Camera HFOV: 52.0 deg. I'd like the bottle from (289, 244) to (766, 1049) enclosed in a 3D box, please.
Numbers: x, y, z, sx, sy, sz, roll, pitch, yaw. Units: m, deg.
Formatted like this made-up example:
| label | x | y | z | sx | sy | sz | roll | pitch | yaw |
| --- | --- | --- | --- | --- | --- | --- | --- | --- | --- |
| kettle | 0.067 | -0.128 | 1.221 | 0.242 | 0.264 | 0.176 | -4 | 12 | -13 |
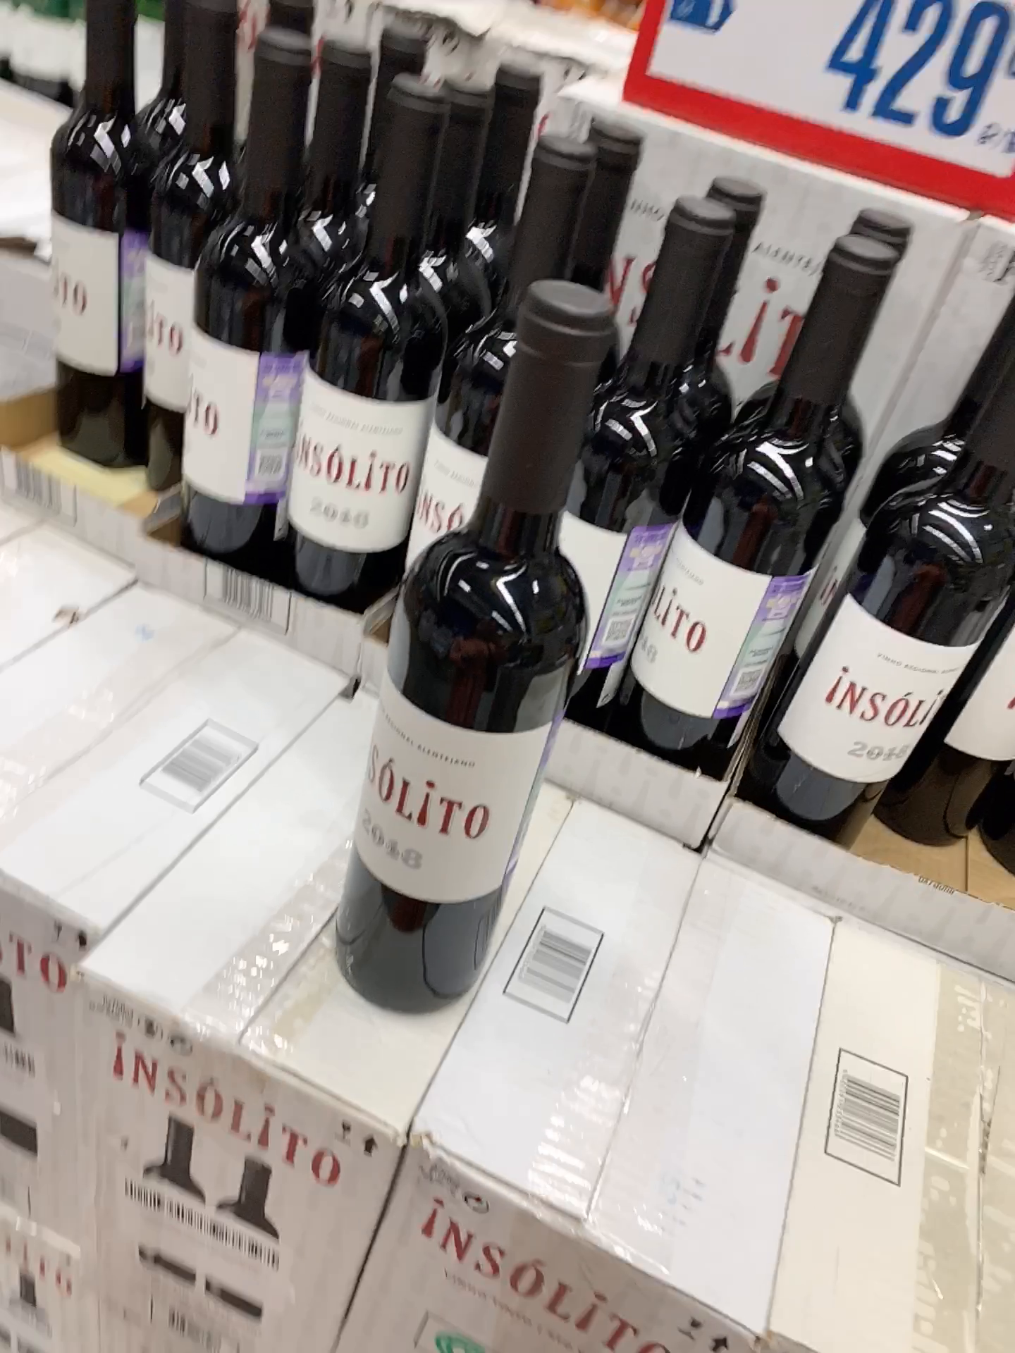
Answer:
| label | x | y | z | sx | sy | sz | roll | pitch | yaw |
| --- | --- | --- | --- | --- | --- | --- | --- | --- | --- |
| bottle | -0.013 | 0.008 | 0.396 | 0.080 | 0.309 | 0.077 | 10 | 37 | -8 |
